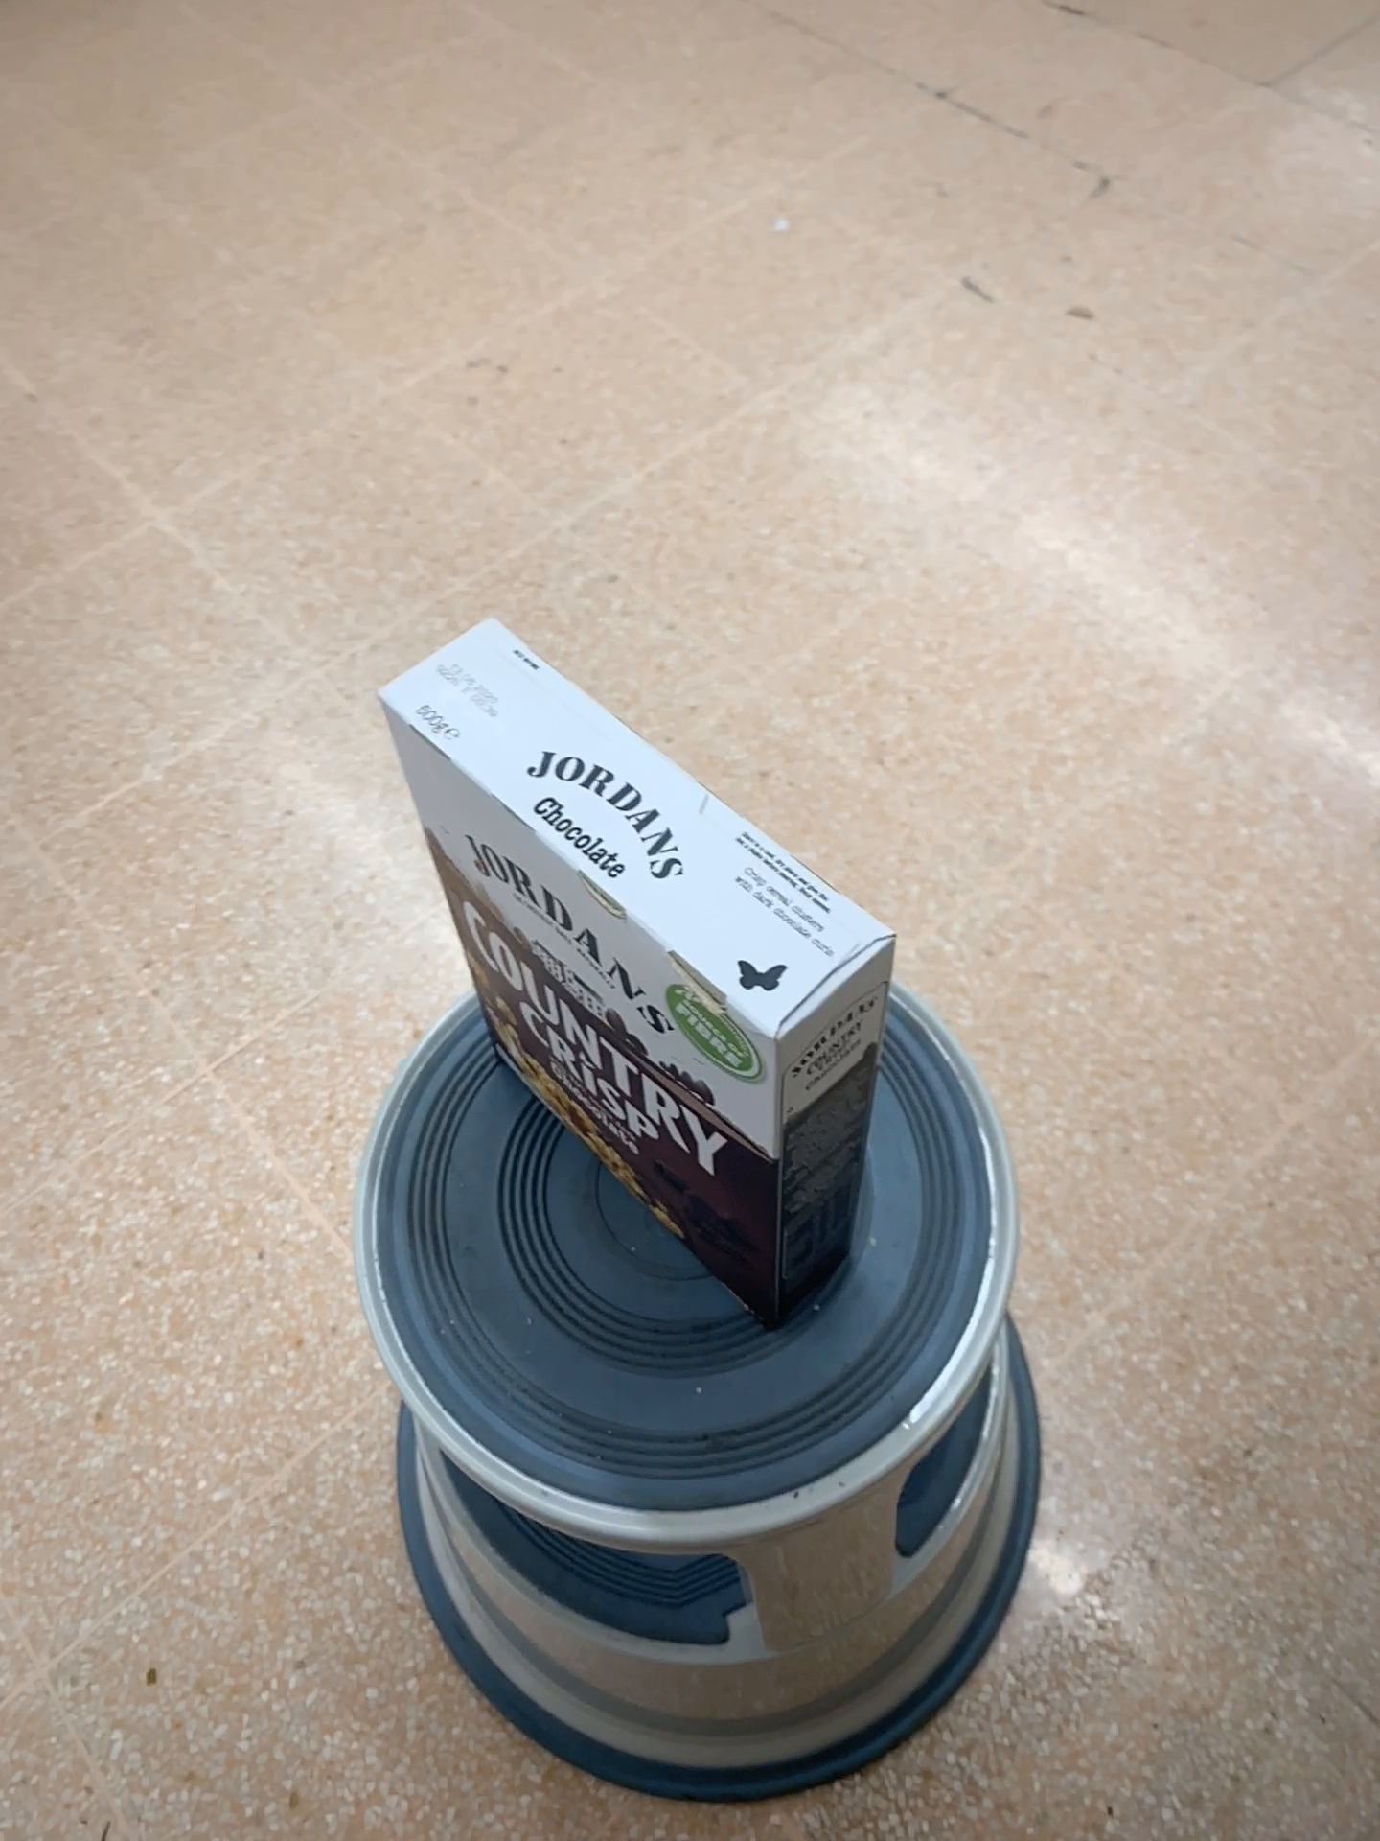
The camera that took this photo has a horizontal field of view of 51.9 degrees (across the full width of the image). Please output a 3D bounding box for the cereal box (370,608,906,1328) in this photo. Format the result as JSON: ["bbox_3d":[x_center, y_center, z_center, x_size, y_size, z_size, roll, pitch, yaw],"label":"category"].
[{"bbox_3d":[-0.014,0.032,0.524,0.050,0.248,0.181,-40,63,-20],"label":"cereal box"}]
